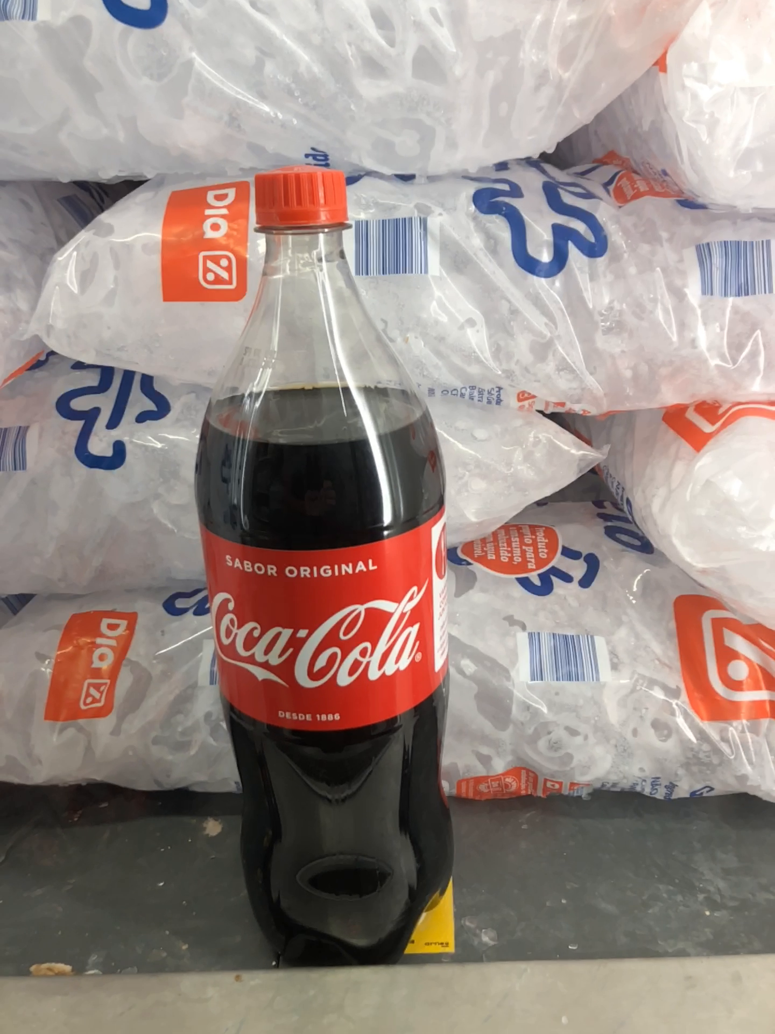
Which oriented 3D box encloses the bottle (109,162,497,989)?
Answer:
[{"bbox_3d":[-0.016,0.028,0.314,0.100,0.288,0.081,2,23,9],"label":"bottle"}]
